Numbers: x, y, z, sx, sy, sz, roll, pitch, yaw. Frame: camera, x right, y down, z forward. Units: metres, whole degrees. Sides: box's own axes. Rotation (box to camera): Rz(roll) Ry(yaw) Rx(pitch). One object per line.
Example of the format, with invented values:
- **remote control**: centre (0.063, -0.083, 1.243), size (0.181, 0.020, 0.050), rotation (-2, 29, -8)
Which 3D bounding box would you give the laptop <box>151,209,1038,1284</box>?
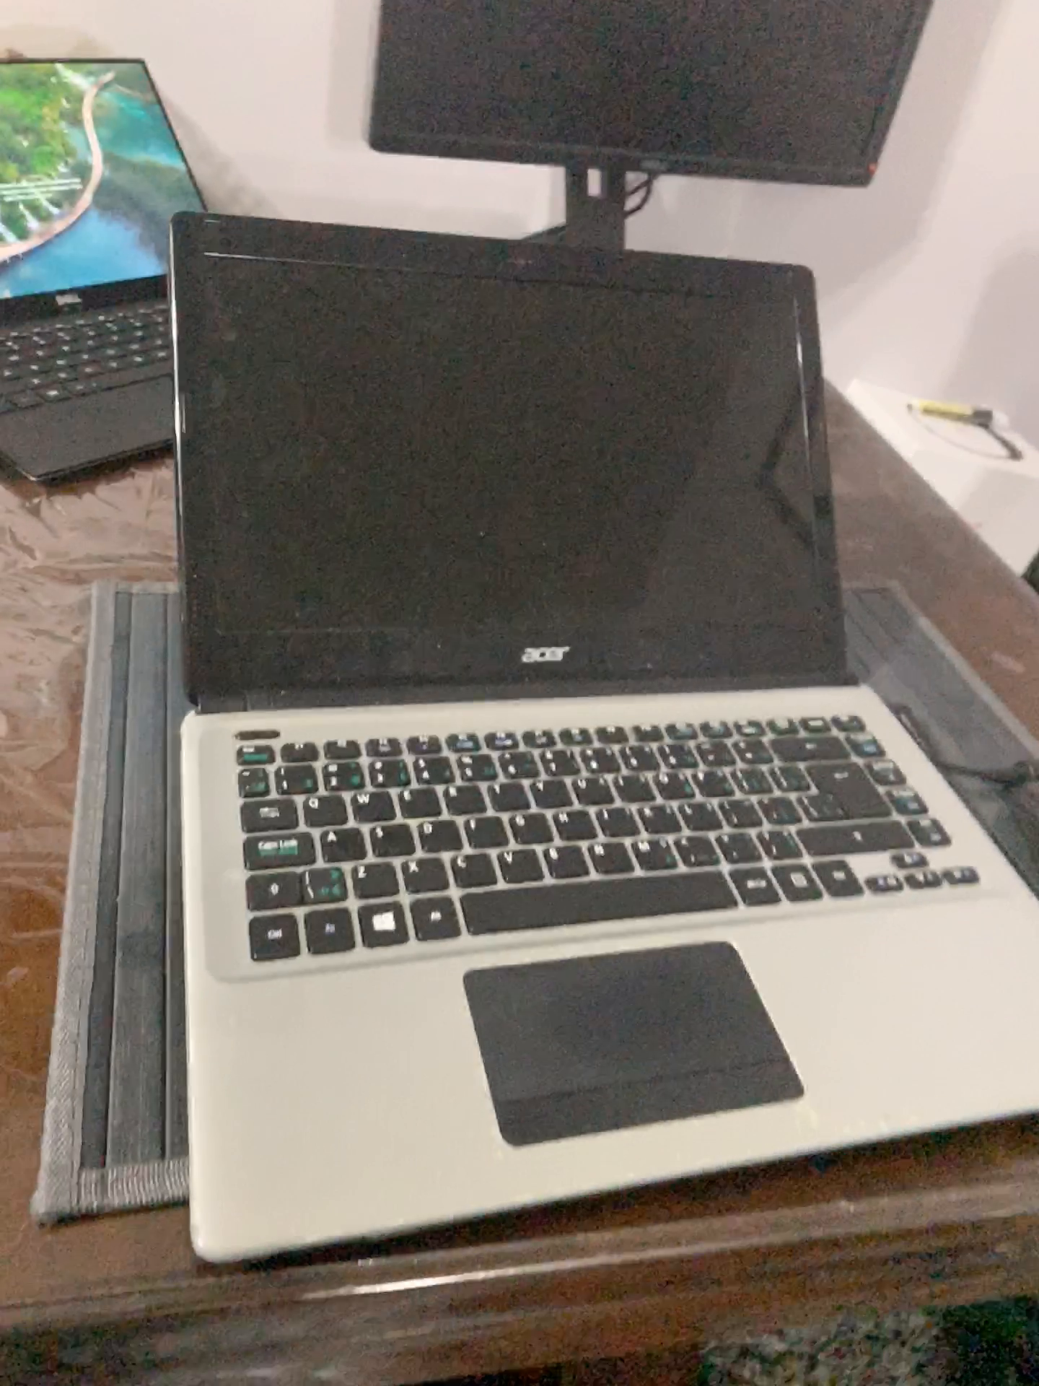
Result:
- **laptop**: centre (0.037, -0.036, 0.421), size (0.330, 0.146, 0.387), rotation (-2, 40, -19)
